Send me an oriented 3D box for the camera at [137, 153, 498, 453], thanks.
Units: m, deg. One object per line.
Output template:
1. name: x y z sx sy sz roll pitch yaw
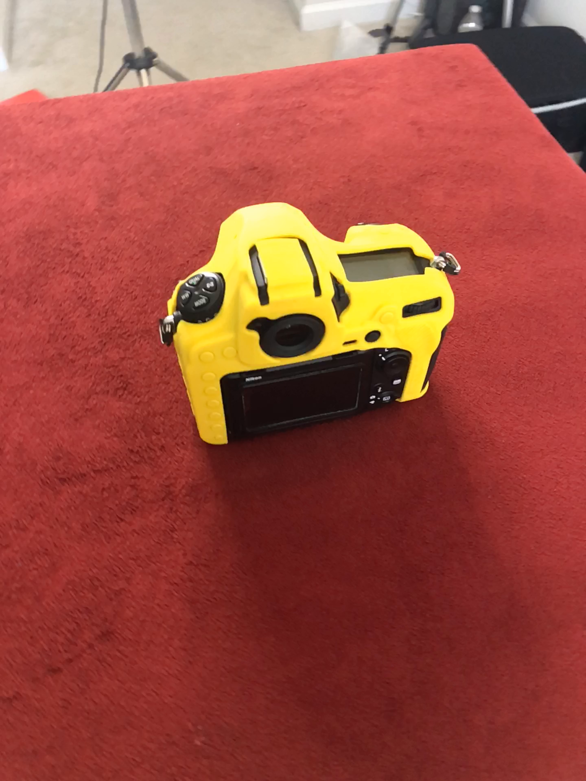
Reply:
1. camera: 0.009 -0.046 0.363 0.160 0.116 0.082 -11 54 -7
